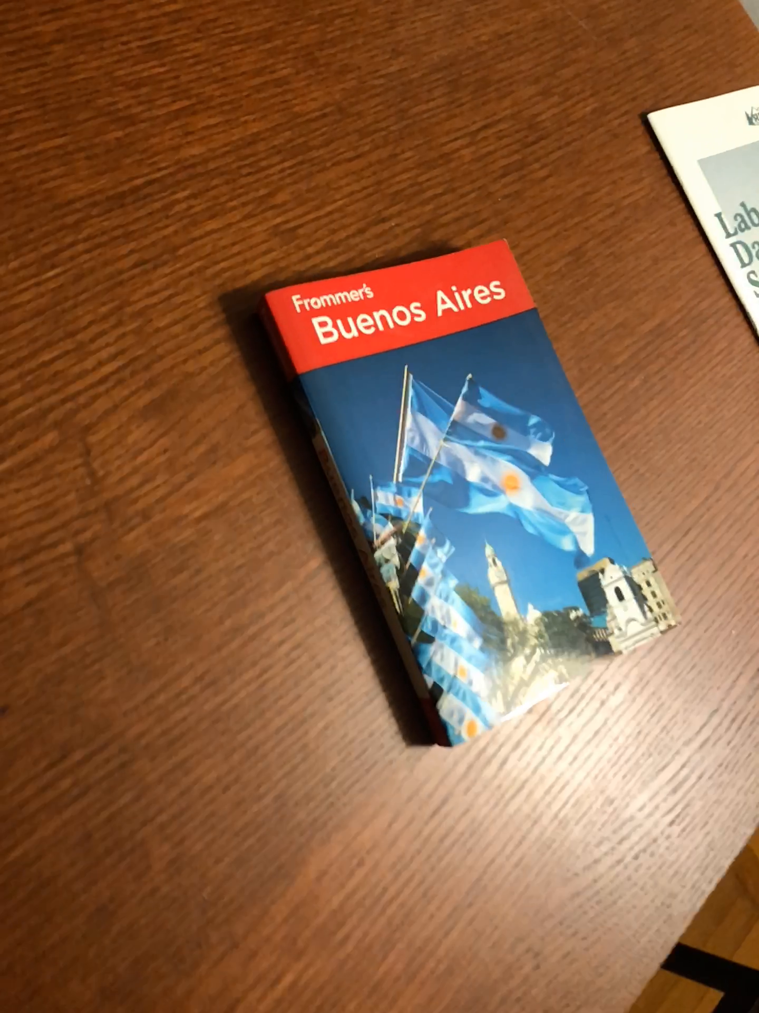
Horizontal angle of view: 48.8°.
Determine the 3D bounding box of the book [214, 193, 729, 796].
[{"bbox_3d":[0.048,-0.019,0.361,0.160,0.020,0.220,-23,87,-30],"label":"book"}]
